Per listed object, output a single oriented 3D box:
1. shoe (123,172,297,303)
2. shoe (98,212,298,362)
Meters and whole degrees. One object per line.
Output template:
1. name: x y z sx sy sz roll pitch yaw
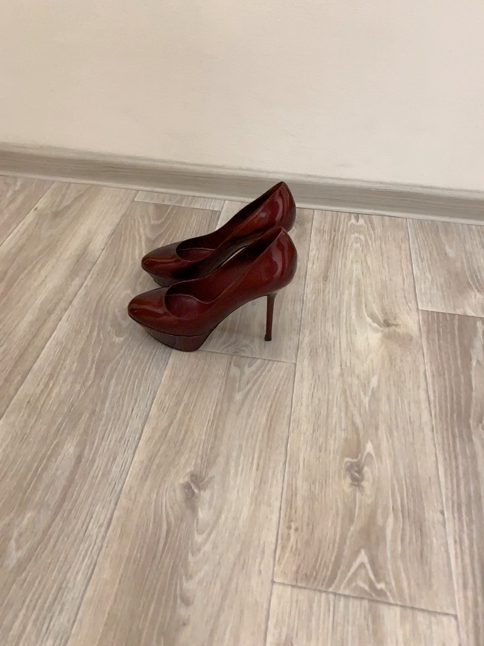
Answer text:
1. shoe: -0.041 -0.115 0.684 0.210 0.149 0.087 1 43 -1
2. shoe: -0.047 -0.041 0.603 0.210 0.149 0.087 3 43 0
